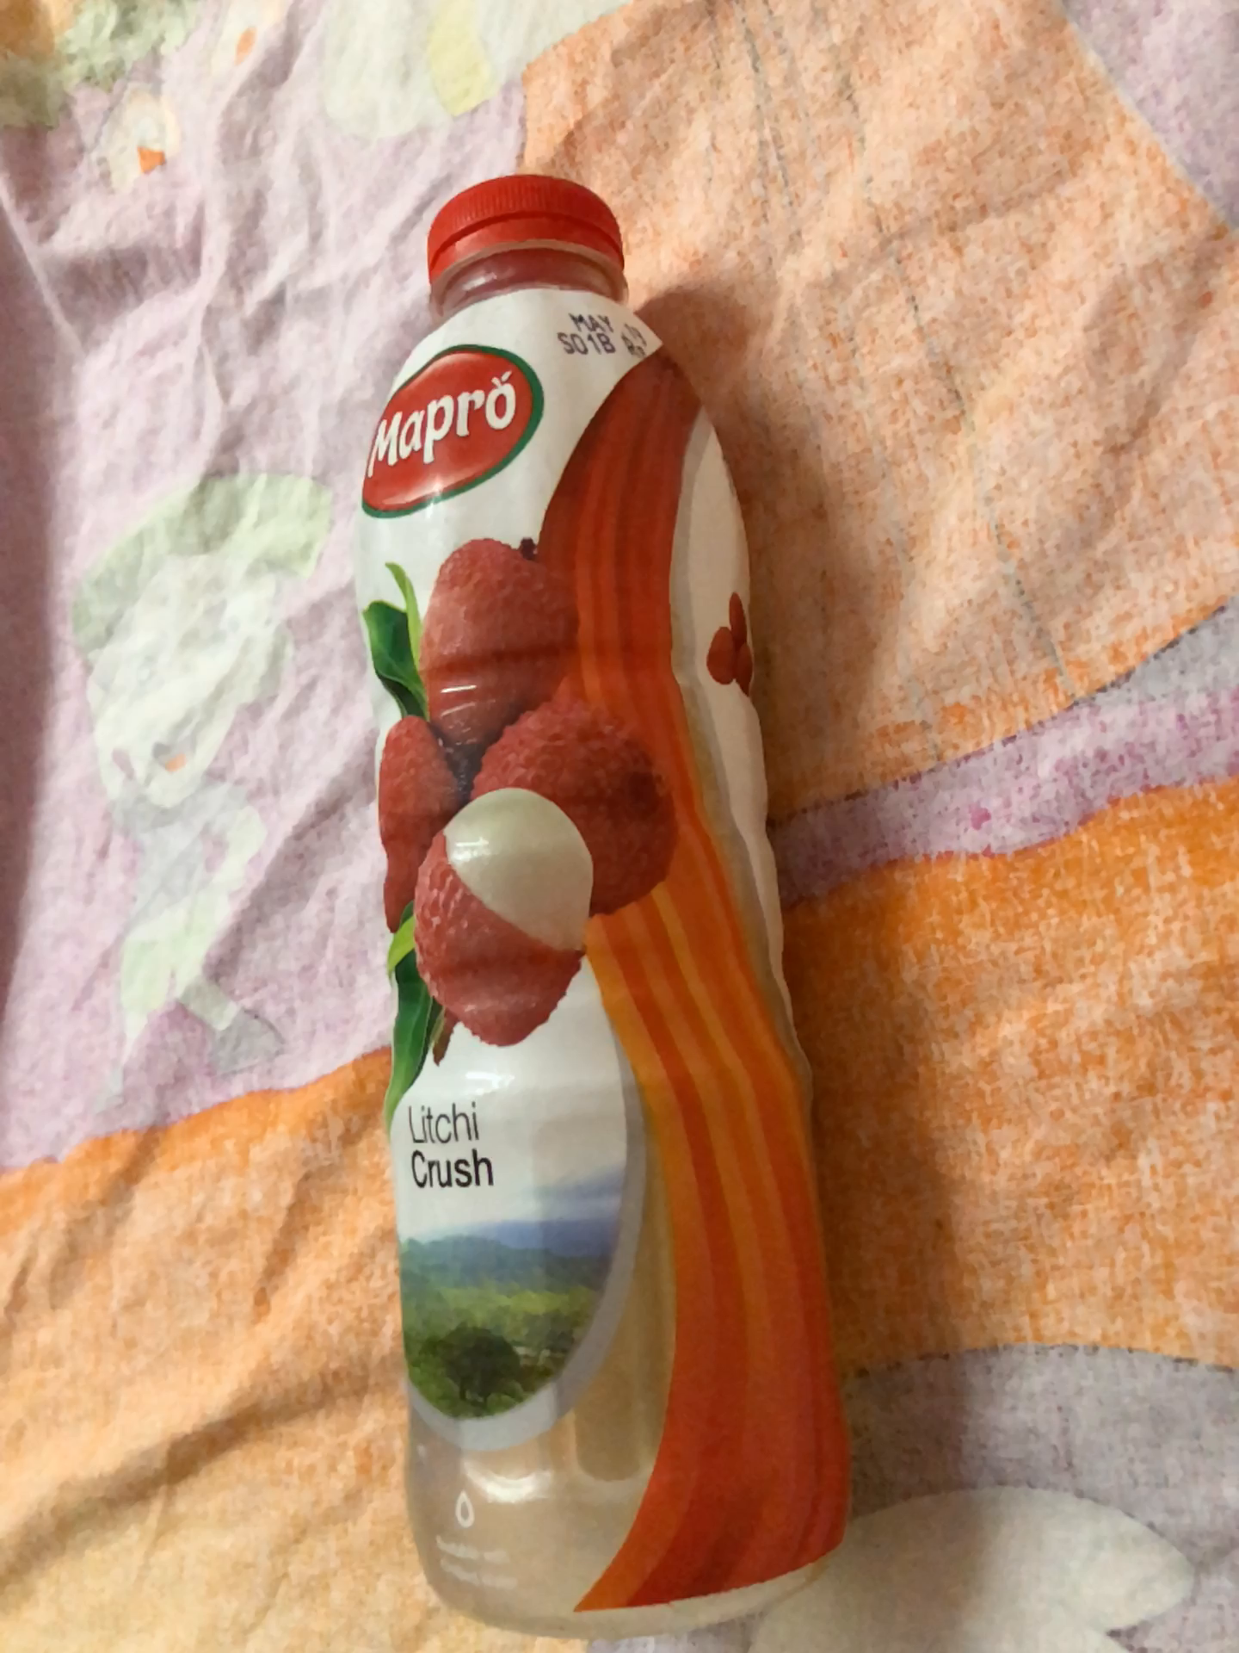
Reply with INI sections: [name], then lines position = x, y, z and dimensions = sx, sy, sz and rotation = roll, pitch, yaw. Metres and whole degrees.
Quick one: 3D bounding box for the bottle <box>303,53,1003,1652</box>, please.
[bottle]
position = 0.001, 0.010, 0.256
dimensions = 0.080, 0.070, 0.260
rotation = -13, 78, 39
